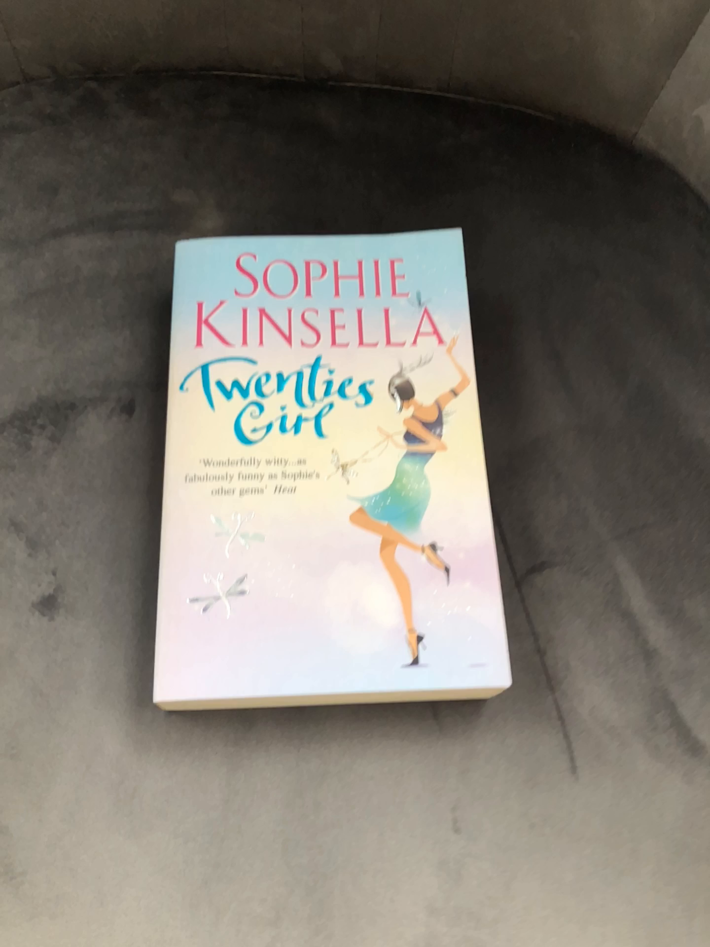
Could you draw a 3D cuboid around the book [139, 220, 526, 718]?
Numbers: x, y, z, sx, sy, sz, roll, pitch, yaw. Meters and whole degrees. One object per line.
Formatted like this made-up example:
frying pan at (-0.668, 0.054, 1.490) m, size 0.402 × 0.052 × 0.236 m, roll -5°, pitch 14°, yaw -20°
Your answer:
book at (-0.013, -0.009, 0.324) m, size 0.132 × 0.043 × 0.200 m, roll -1°, pitch 68°, yaw -6°
